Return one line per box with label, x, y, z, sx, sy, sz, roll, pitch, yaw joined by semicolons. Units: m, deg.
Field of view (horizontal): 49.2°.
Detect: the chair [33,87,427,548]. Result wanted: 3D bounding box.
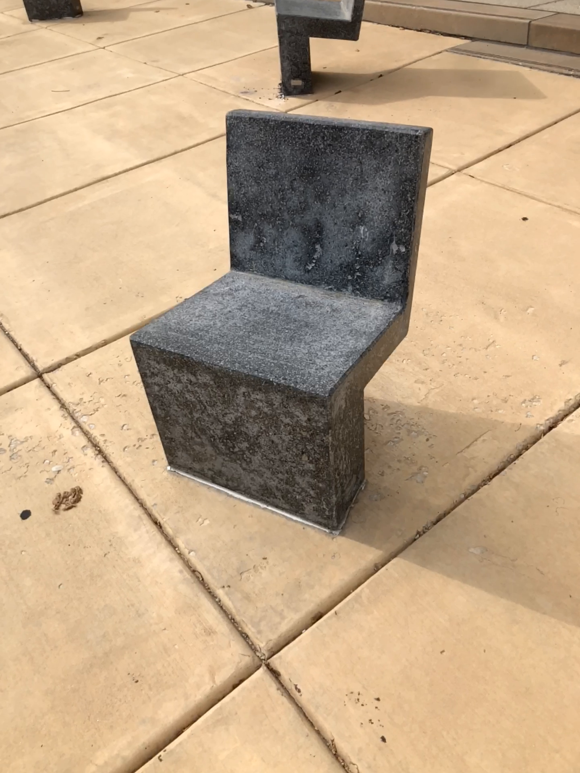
chair;-0.091;-0.188;1.472;0.570;0.798;0.561;16;37;19
